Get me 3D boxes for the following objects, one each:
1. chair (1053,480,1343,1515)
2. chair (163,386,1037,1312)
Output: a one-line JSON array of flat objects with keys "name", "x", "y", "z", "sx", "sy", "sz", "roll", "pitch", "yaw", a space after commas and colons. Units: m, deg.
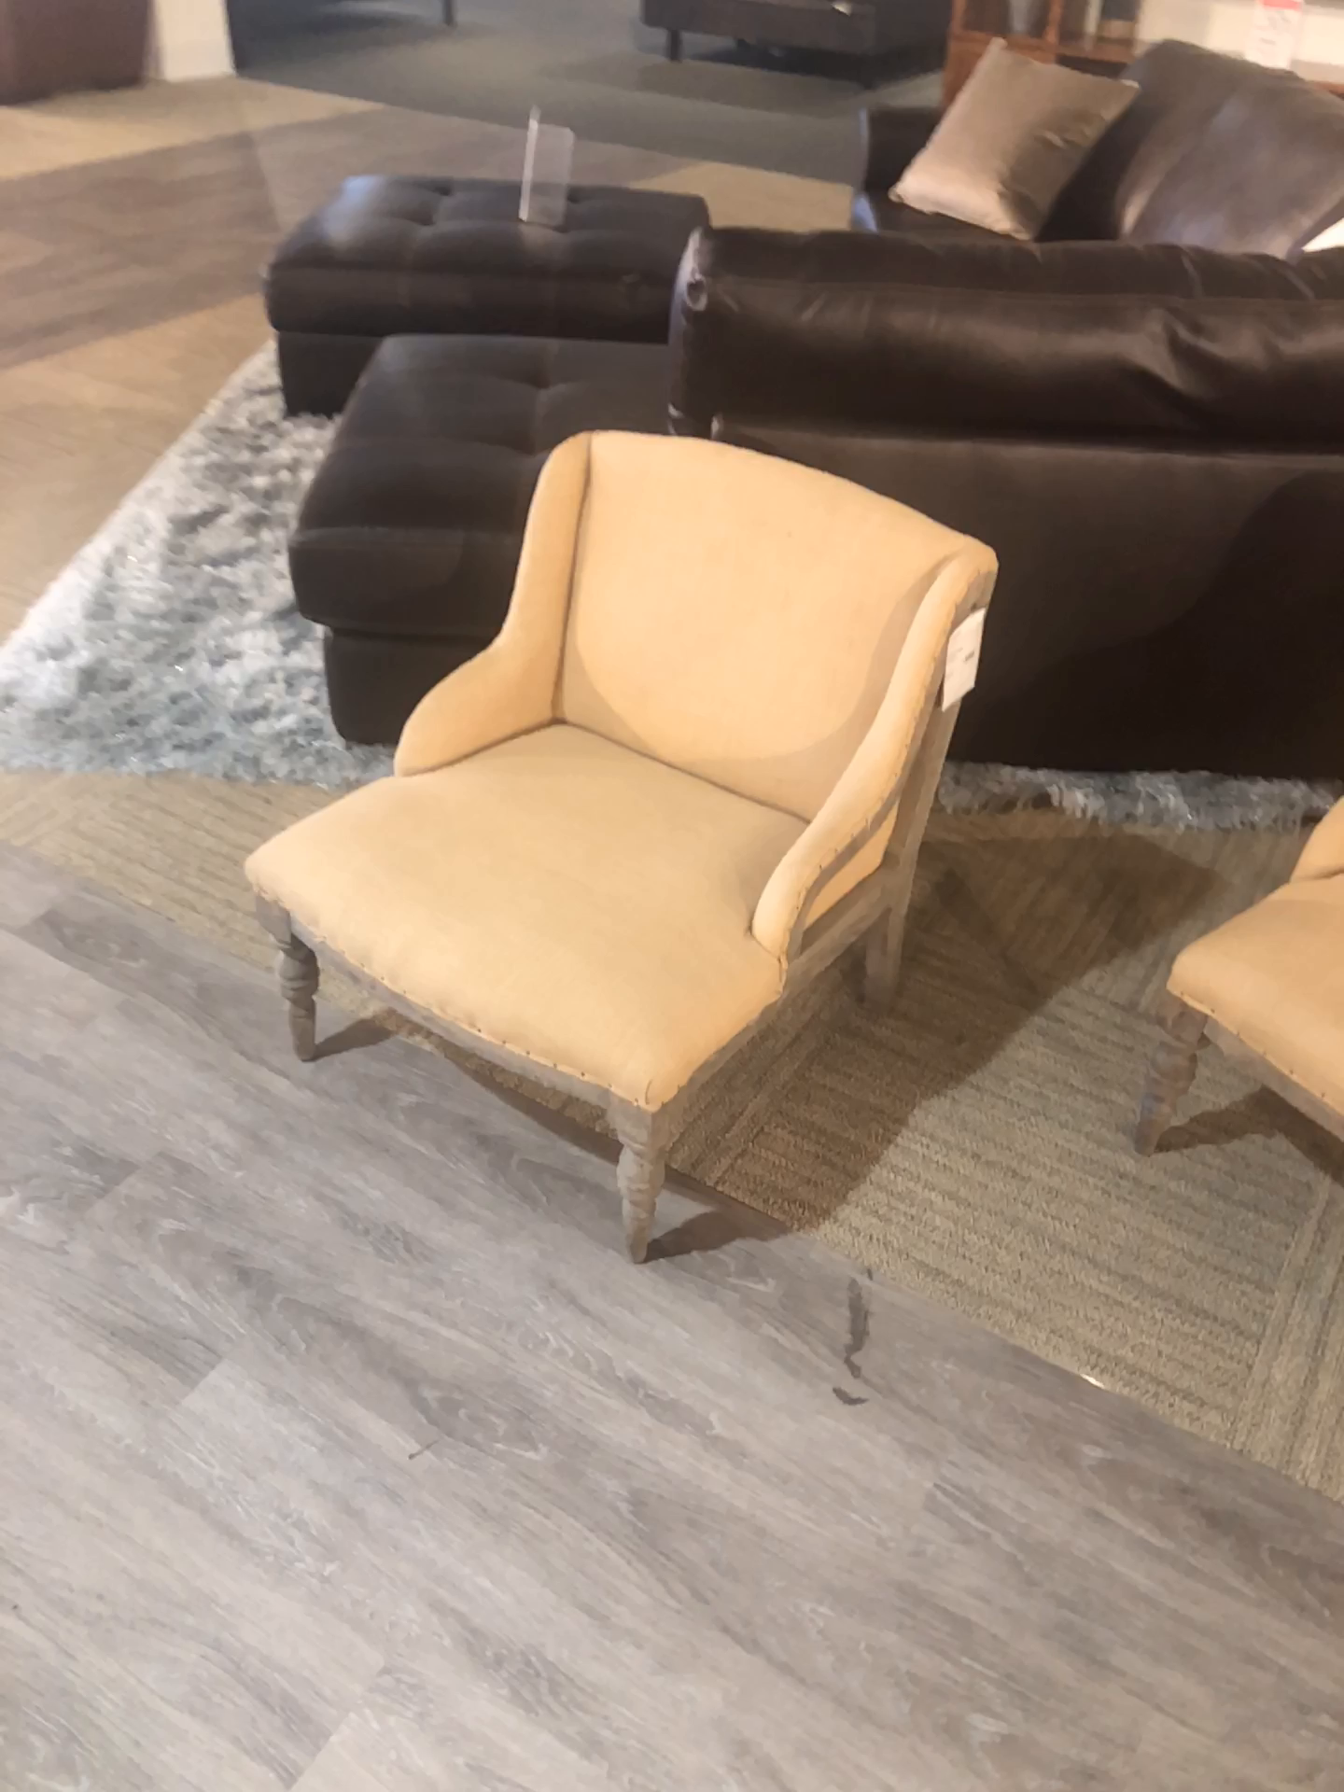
[{"name": "chair", "x": 0.936, "y": 0.039, "z": 1.558, "sx": 0.721, "sy": 0.625, "sz": 0.628, "roll": -27, "pitch": 46, "yaw": -33}, {"name": "chair", "x": -0.062, "y": -0.105, "z": 1.739, "sx": 0.637, "sy": 0.685, "sz": 0.671, "roll": 24, "pitch": 42, "yaw": 26}]
